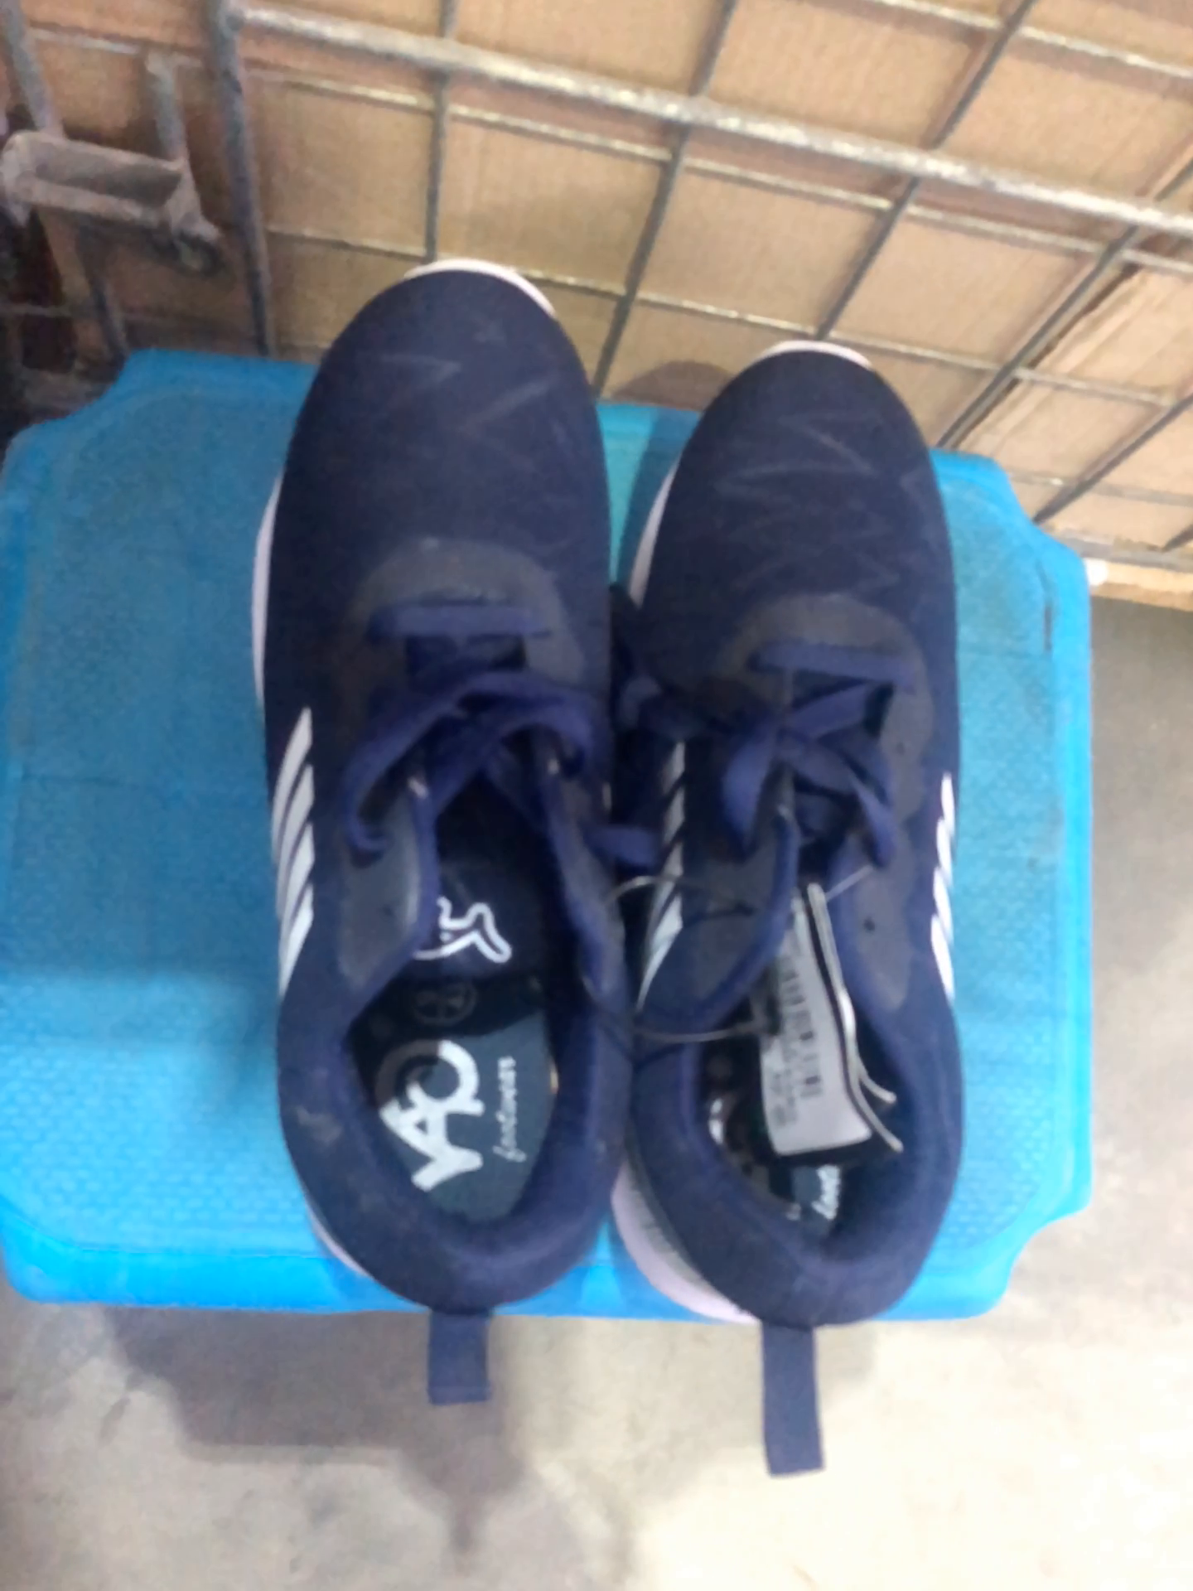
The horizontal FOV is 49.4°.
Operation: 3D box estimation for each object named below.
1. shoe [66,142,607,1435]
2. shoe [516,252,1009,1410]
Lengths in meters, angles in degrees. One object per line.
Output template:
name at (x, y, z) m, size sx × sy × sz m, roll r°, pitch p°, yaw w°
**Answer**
shoe at (-0.057, -0.003, 0.324) m, size 0.100 × 0.100 × 0.270 m, roll 2°, pitch 80°, yaw -10°
shoe at (0.039, 0.009, 0.356) m, size 0.100 × 0.100 × 0.270 m, roll 4°, pitch 80°, yaw -10°
